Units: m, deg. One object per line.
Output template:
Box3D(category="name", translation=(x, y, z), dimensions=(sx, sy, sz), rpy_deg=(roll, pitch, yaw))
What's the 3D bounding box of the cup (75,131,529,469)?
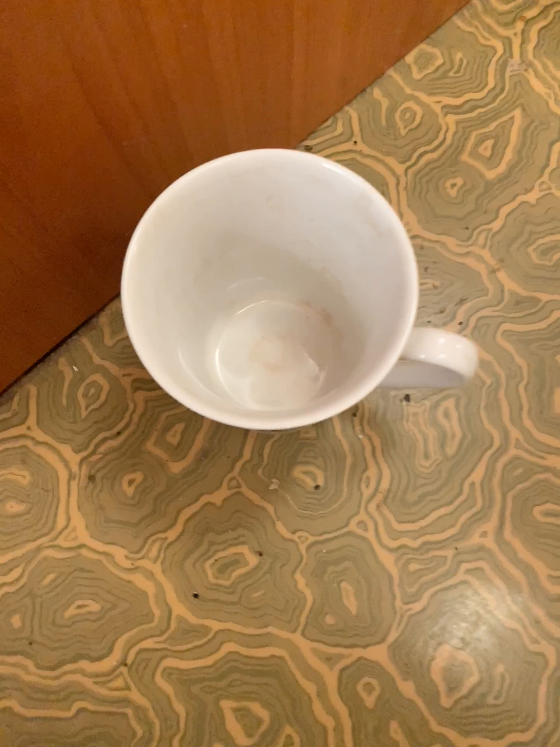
Box3D(category="cup", translation=(0.009, -0.017, 0.203), dimensions=(0.118, 0.087, 0.086), rpy_deg=(4, 77, 2))
